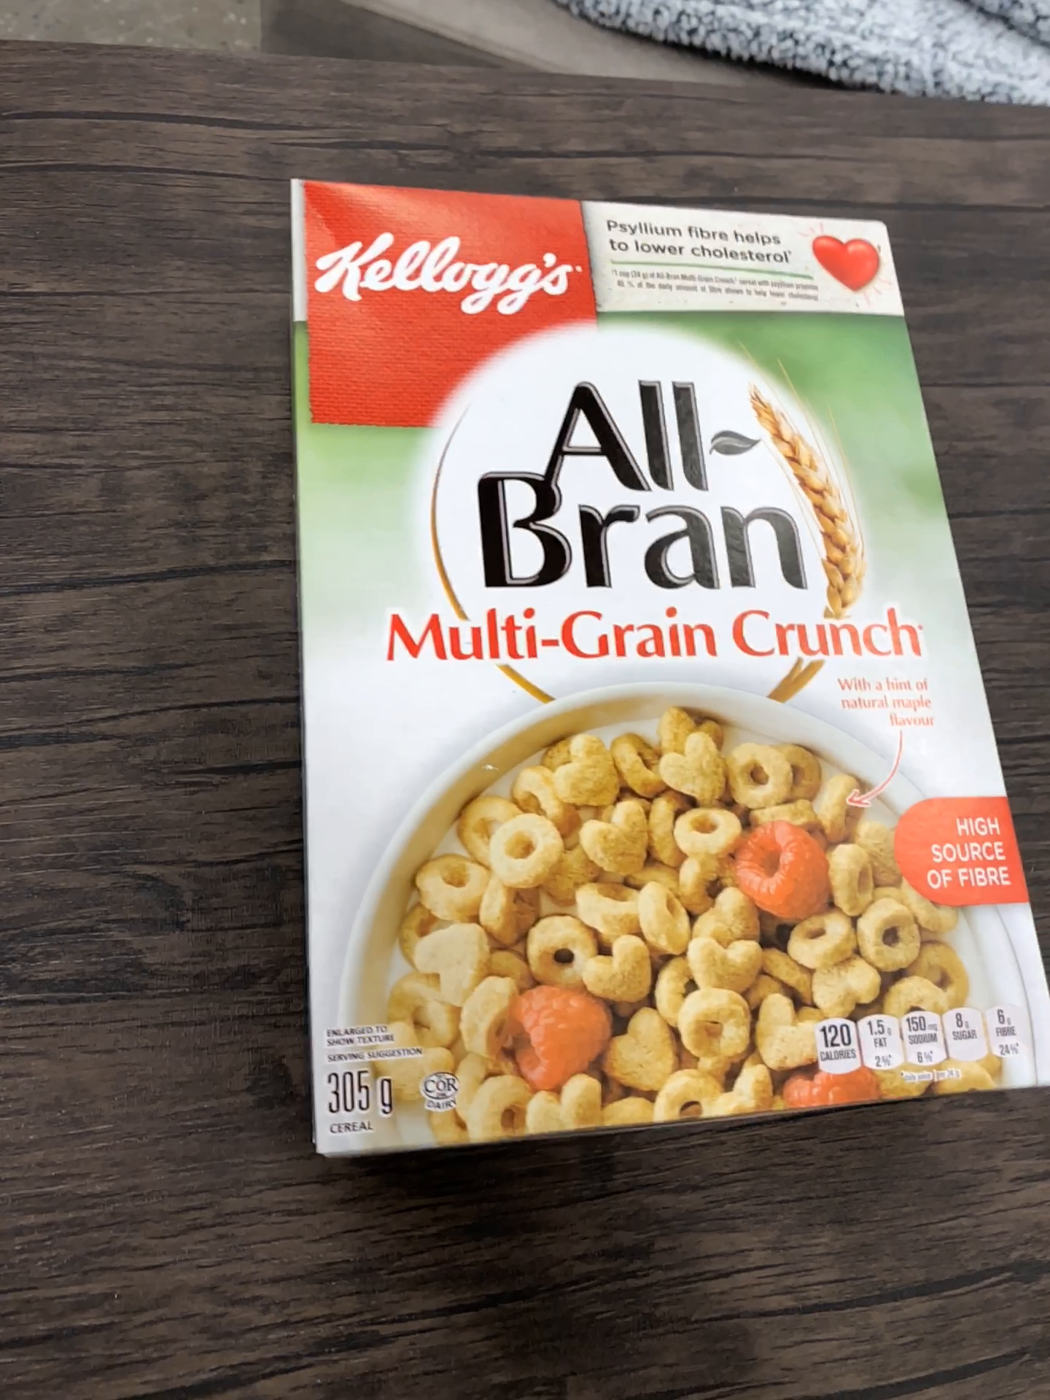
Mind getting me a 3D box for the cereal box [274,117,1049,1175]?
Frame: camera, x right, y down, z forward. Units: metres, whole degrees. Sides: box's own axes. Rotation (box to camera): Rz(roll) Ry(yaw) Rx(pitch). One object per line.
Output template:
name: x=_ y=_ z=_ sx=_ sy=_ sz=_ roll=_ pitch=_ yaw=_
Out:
cereal box: x=0.033 y=-0.027 z=0.359 sx=0.210 sy=0.070 sz=0.300 roll=-1 pitch=70 yaw=-12
